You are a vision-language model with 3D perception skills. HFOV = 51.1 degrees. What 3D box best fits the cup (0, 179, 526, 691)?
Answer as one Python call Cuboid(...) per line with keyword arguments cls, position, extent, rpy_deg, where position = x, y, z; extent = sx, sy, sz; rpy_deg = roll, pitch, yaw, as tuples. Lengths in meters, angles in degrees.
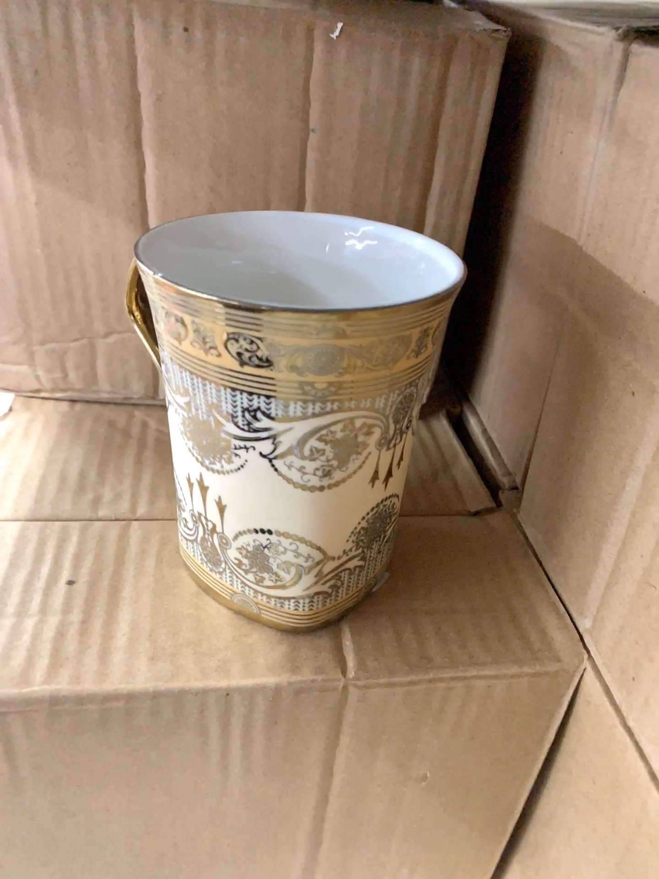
Cuboid(cls="cup", position=(-0.020, -0.013, 0.199), extent=(0.110, 0.089, 0.080), rpy_deg=(24, 38, 30))
